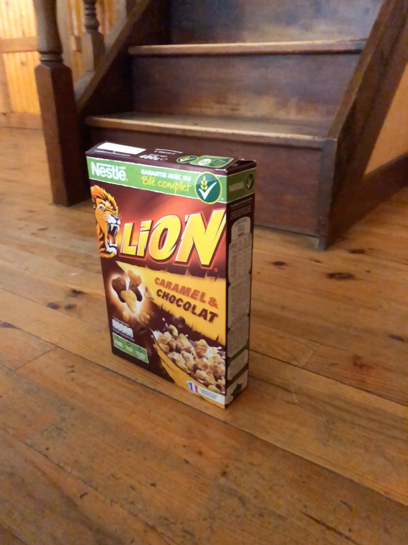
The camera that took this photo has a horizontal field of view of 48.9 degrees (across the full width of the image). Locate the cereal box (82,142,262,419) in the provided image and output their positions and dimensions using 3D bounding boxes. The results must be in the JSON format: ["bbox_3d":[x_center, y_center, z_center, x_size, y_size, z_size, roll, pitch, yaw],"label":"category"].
[{"bbox_3d":[-0.040,0.002,0.528,0.200,0.279,0.060,17,28,34],"label":"cereal box"}]
